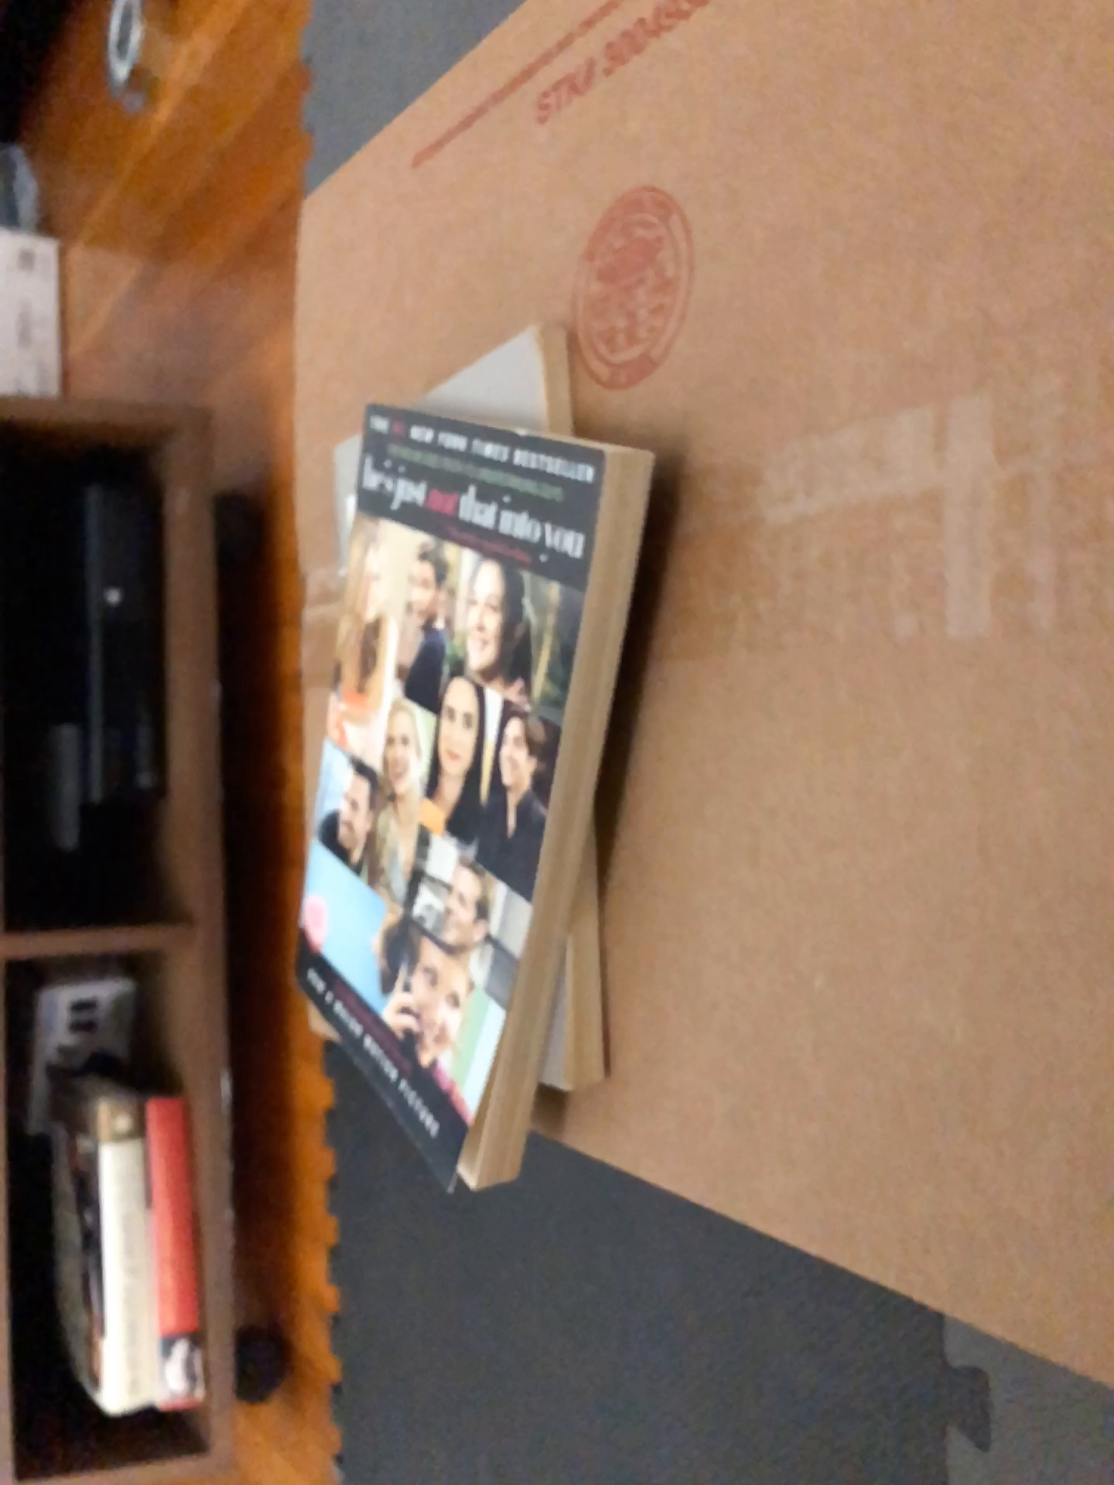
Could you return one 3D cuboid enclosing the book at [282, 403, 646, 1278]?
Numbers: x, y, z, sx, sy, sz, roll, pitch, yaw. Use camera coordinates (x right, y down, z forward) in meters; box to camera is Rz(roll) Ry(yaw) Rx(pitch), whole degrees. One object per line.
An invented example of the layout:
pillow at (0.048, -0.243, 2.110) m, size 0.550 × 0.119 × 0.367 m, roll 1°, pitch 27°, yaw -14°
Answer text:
book at (-0.041, 0.019, 0.385) m, size 0.151 × 0.010 × 0.230 m, roll 28°, pitch 113°, yaw 52°
